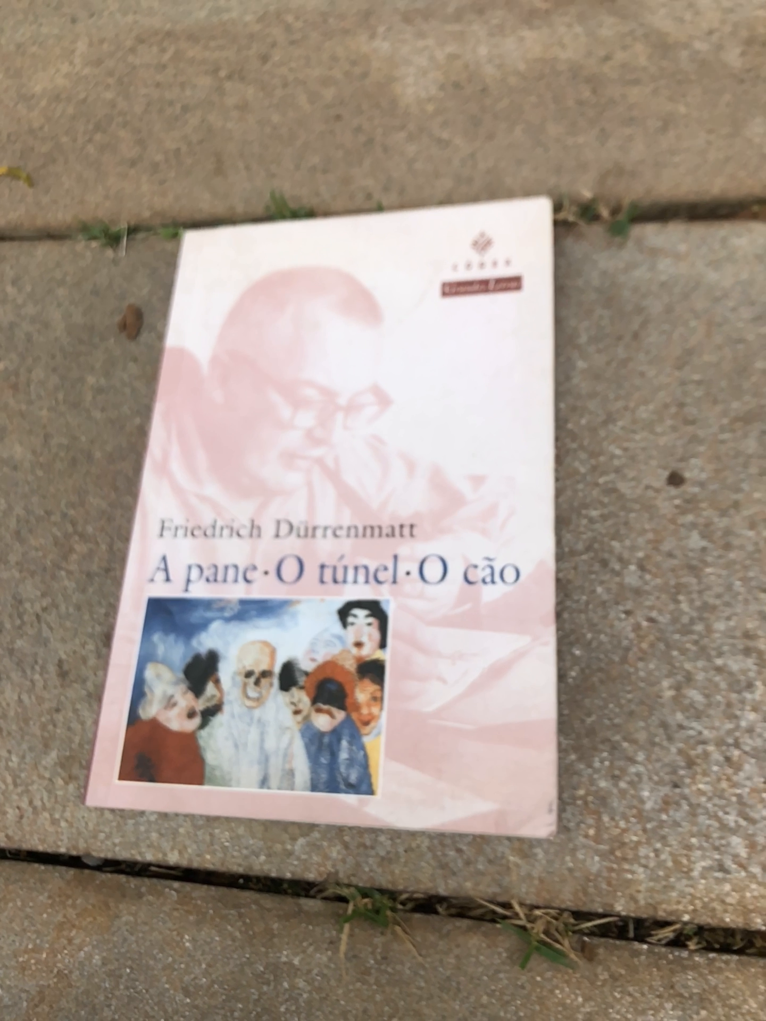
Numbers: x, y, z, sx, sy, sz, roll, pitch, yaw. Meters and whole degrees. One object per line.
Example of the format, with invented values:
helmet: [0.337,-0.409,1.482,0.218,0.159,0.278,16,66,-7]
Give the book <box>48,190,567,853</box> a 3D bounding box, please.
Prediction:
book: [-0.016,-0.007,0.266,0.140,0.015,0.200,-1,69,11]
